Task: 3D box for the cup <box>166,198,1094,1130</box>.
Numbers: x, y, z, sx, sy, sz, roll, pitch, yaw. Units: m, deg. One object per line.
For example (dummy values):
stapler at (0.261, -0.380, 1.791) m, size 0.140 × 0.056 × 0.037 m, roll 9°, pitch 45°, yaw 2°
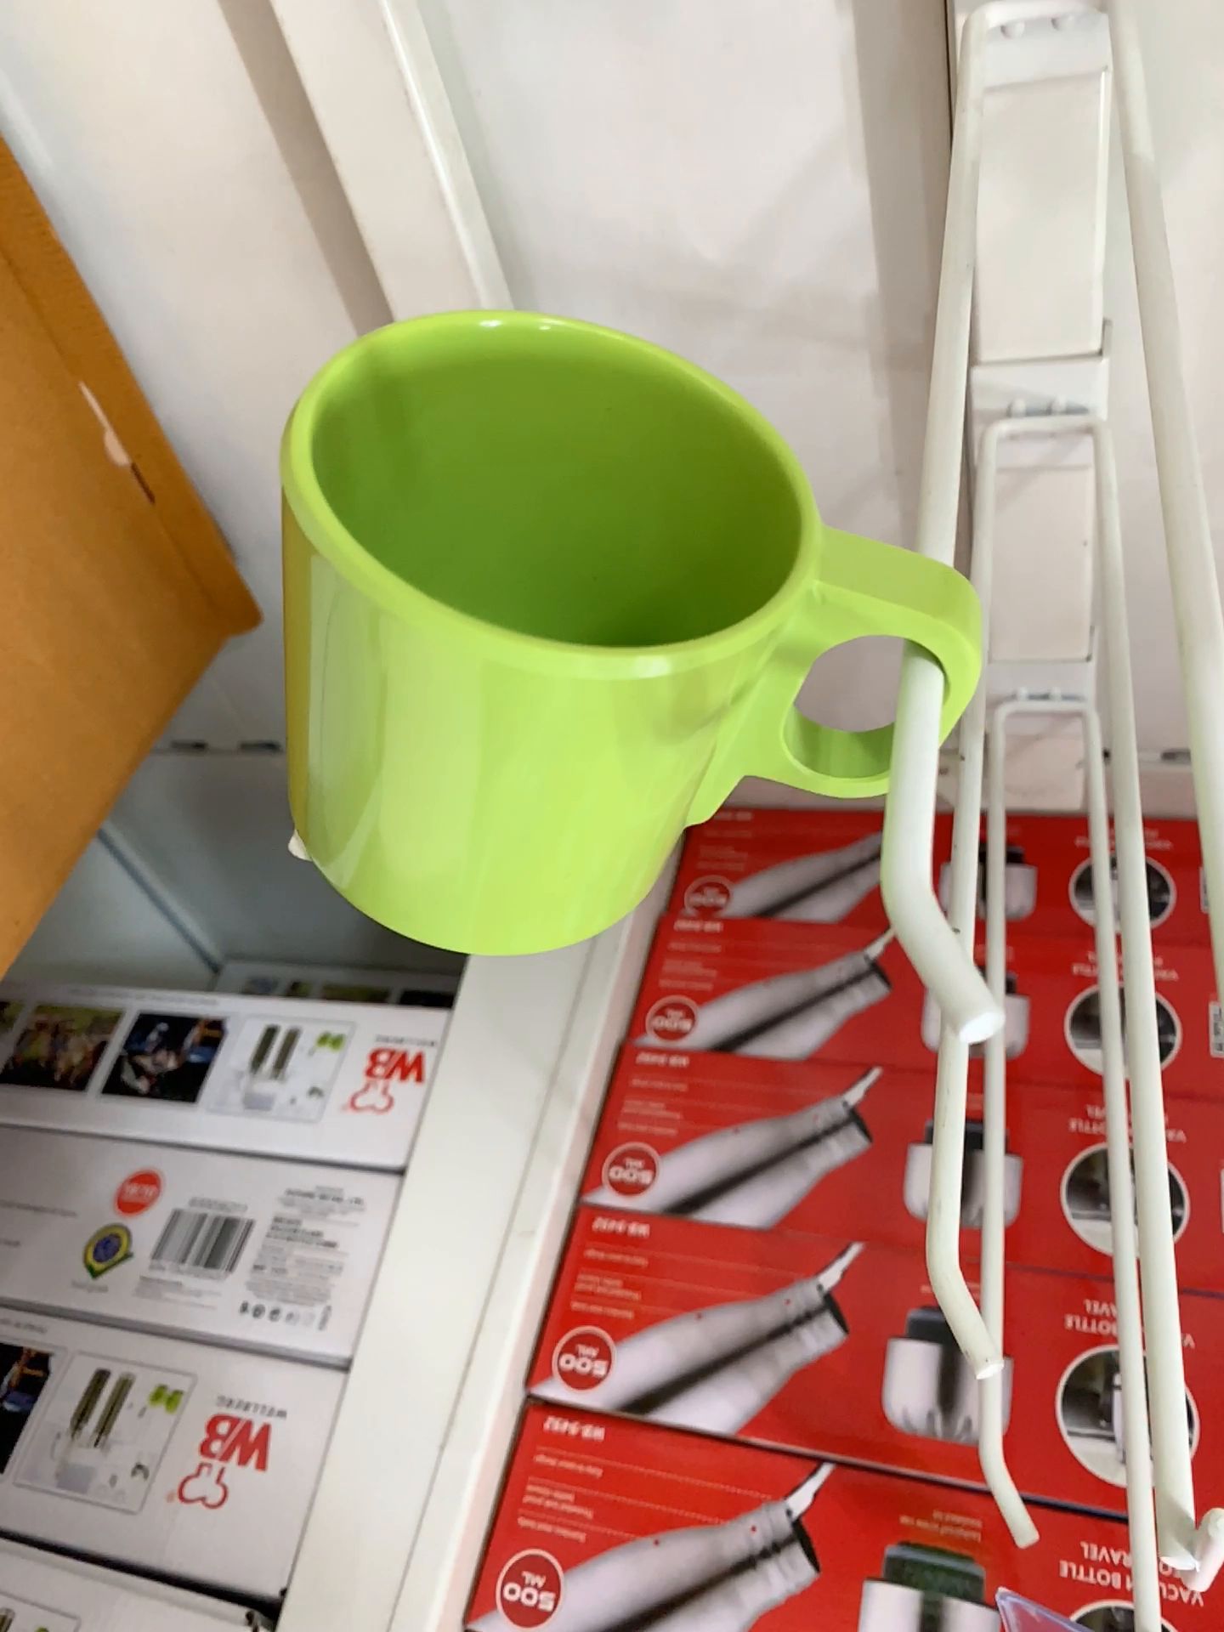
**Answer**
cup at (0.003, -0.022, 0.208) m, size 0.080 × 0.110 × 0.100 m, roll 111°, pitch -9°, yaw -53°
